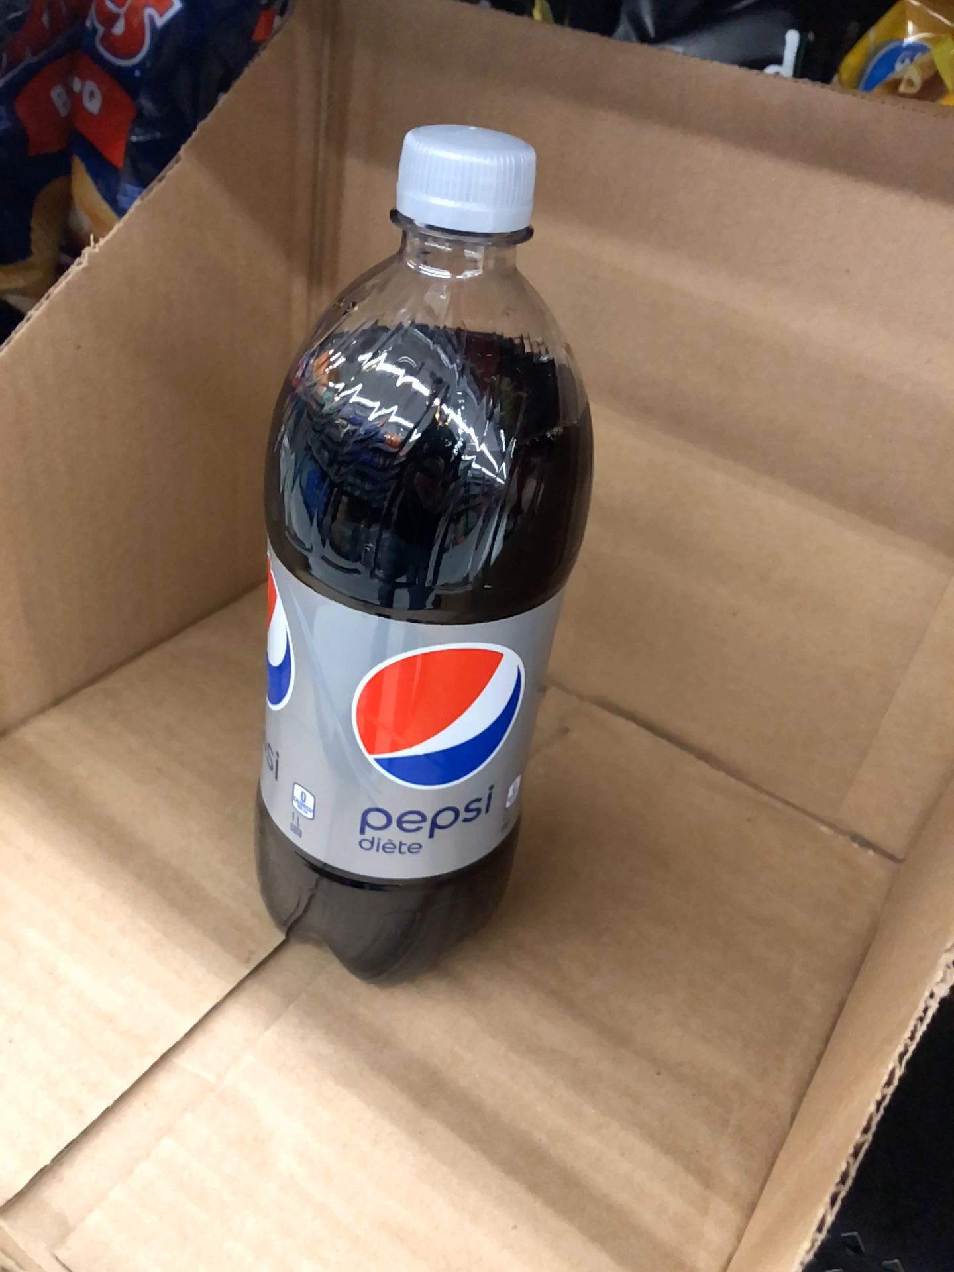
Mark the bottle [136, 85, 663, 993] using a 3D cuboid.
[{"bbox_3d":[-0.026,-0.008,0.282,0.090,0.228,0.081,2,37,-6],"label":"bottle"}]
